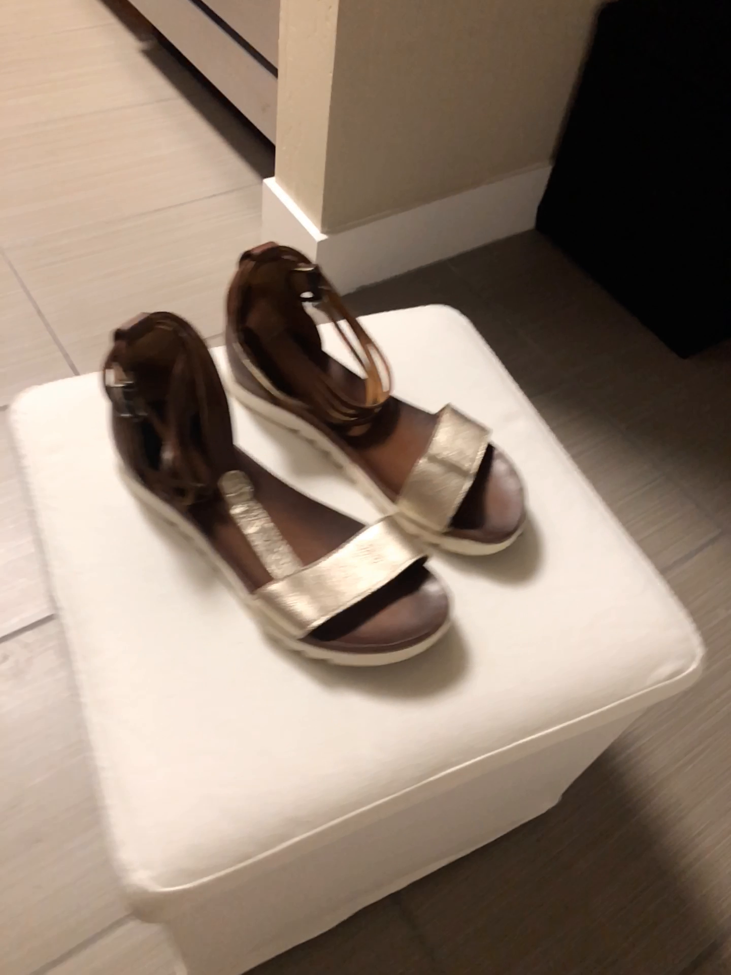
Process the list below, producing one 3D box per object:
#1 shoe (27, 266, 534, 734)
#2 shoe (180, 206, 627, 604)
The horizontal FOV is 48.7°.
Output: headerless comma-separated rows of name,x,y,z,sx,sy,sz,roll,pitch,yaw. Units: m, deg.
shoe,-0.054,-0.003,0.458,0.260,0.090,0.110,37,56,19
shoe,0.014,-0.062,0.521,0.260,0.090,0.110,37,56,19
